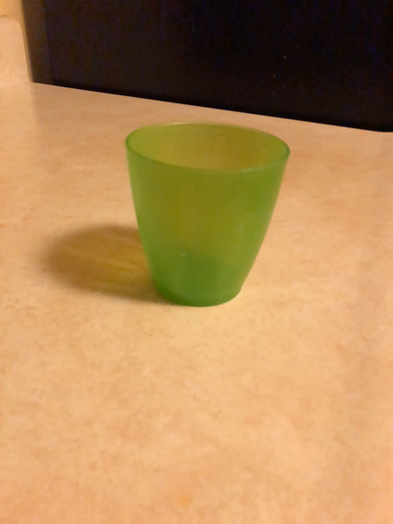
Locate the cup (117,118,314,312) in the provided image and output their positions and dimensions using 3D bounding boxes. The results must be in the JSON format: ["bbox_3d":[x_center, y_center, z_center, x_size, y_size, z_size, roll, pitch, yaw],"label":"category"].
[{"bbox_3d":[0.001,-0.029,0.225,0.080,0.070,0.080,2,31,-1],"label":"cup"}]
